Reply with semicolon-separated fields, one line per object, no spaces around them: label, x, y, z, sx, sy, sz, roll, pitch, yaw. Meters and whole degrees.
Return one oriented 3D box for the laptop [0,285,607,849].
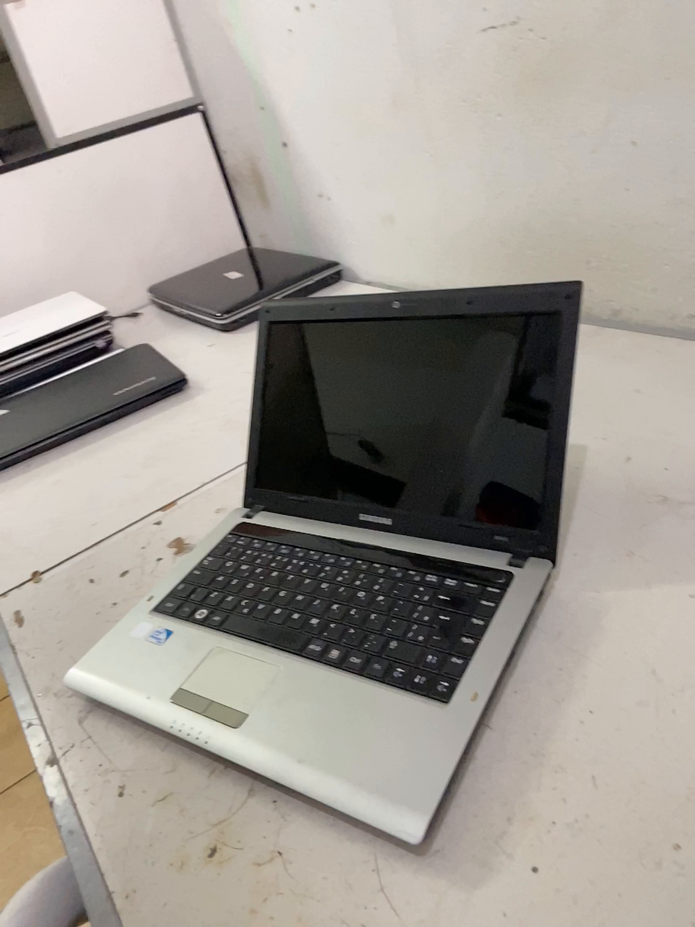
laptop;-0.027;0.021;0.553;0.335;0.172;0.363;6;37;35
